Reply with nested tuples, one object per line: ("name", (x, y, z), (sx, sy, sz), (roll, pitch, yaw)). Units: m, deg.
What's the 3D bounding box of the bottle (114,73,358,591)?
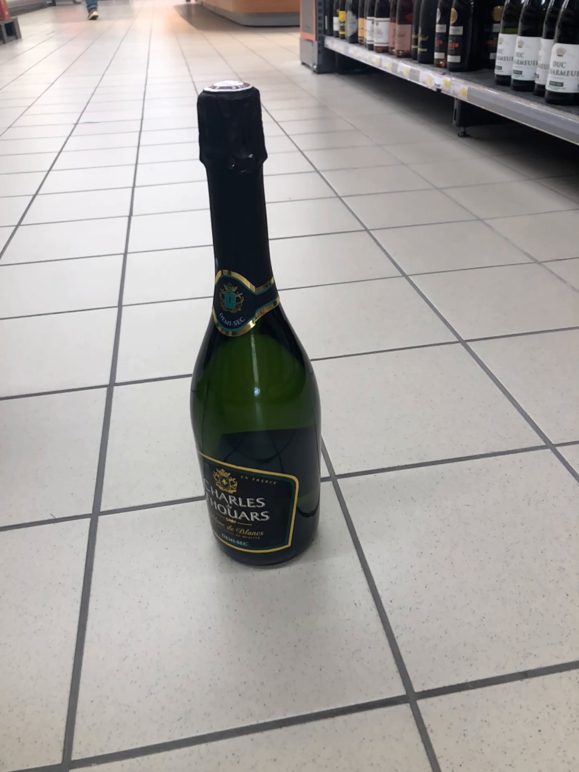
("bottle", (-0.021, -0.025, 0.409), (0.090, 0.308, 0.091), (-2, 31, 1))
